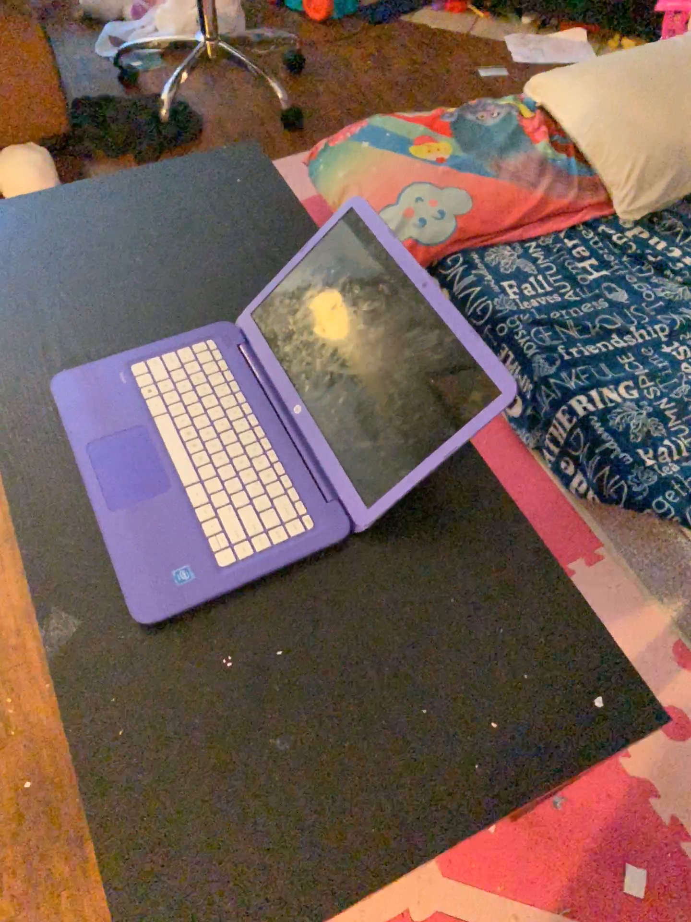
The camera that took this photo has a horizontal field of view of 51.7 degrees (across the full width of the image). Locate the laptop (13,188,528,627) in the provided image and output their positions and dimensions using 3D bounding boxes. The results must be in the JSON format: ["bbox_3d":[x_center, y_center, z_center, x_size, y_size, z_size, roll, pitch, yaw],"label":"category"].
[{"bbox_3d":[-0.086,-0.083,0.744,0.397,0.132,0.340,-22,58,-16],"label":"laptop"}]
